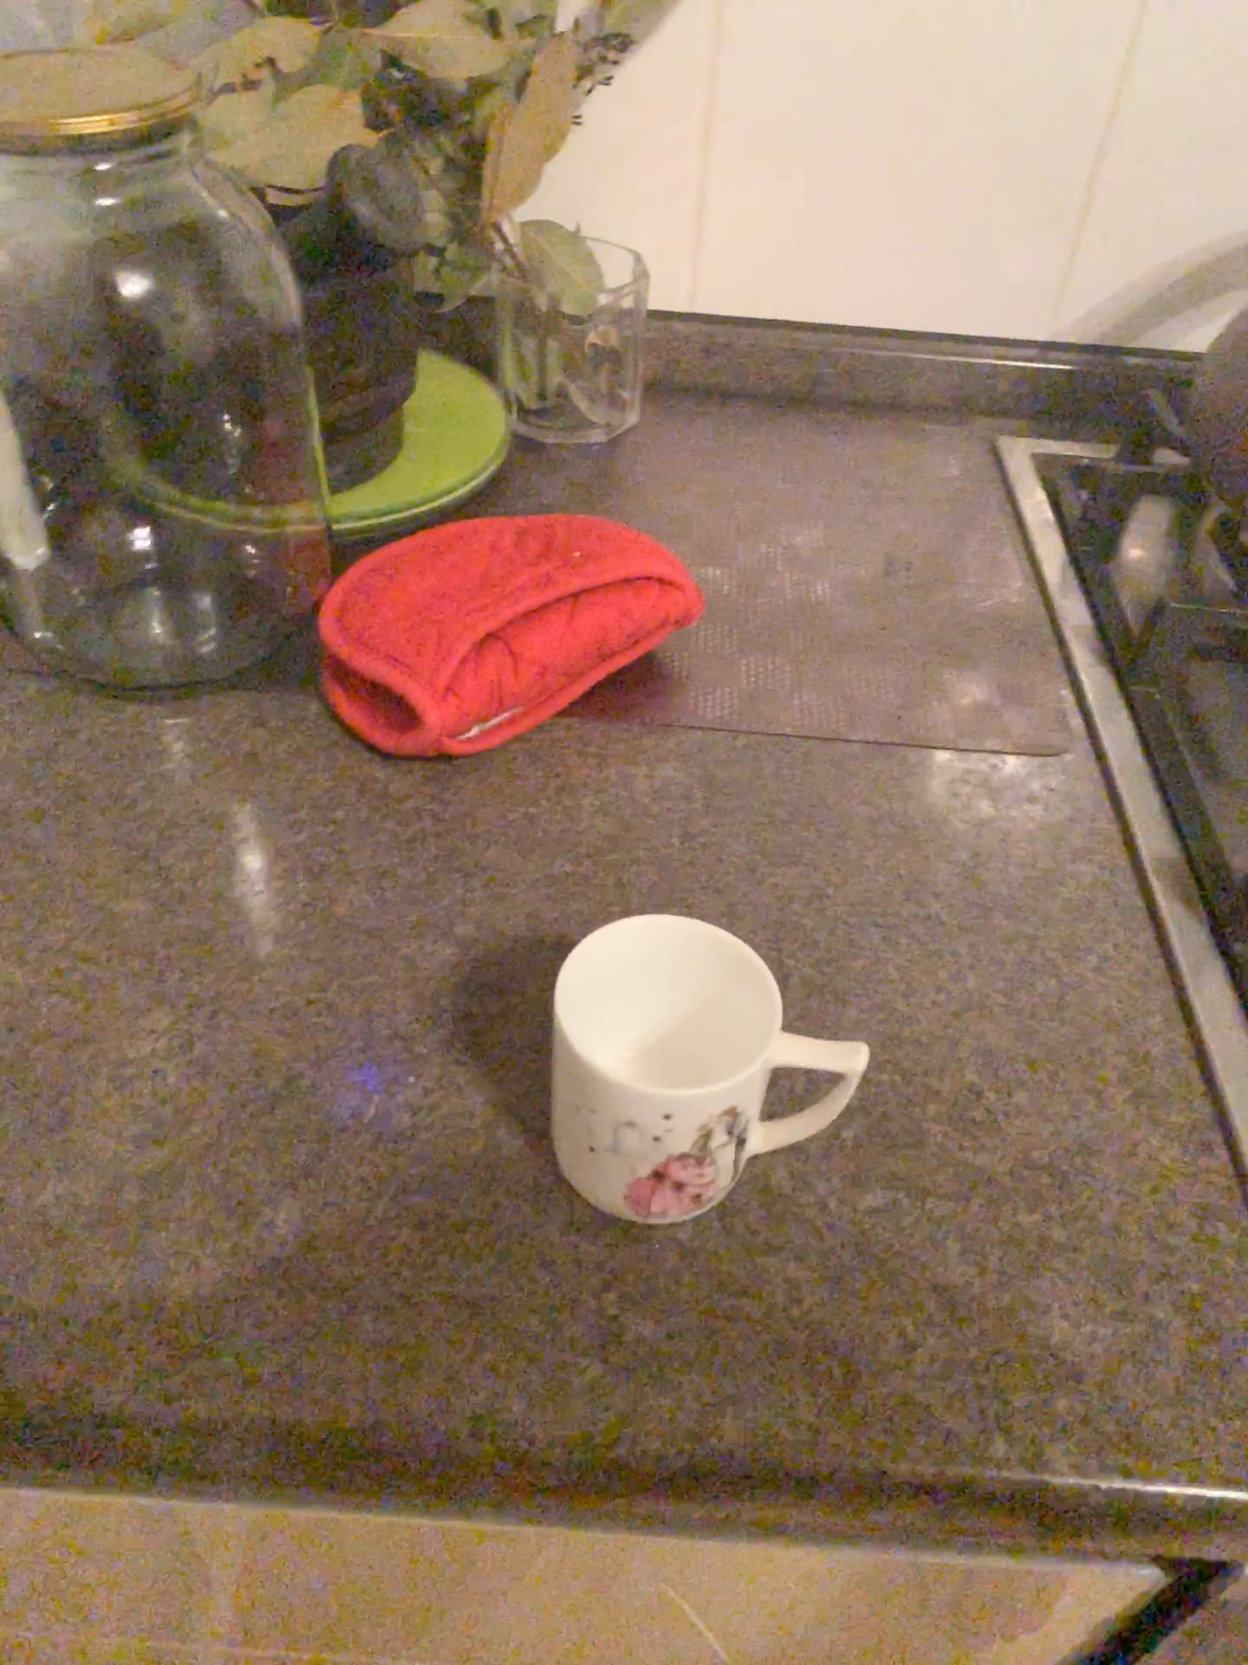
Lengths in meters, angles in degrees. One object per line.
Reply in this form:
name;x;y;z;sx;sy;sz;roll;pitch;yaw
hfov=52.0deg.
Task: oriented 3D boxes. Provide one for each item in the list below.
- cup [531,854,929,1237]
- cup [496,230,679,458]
cup;0.025;0.054;0.330;0.089;0.061;0.065;6;43;2
cup;-0.021;-0.248;0.652;0.079;0.091;0.055;-7;44;-12
